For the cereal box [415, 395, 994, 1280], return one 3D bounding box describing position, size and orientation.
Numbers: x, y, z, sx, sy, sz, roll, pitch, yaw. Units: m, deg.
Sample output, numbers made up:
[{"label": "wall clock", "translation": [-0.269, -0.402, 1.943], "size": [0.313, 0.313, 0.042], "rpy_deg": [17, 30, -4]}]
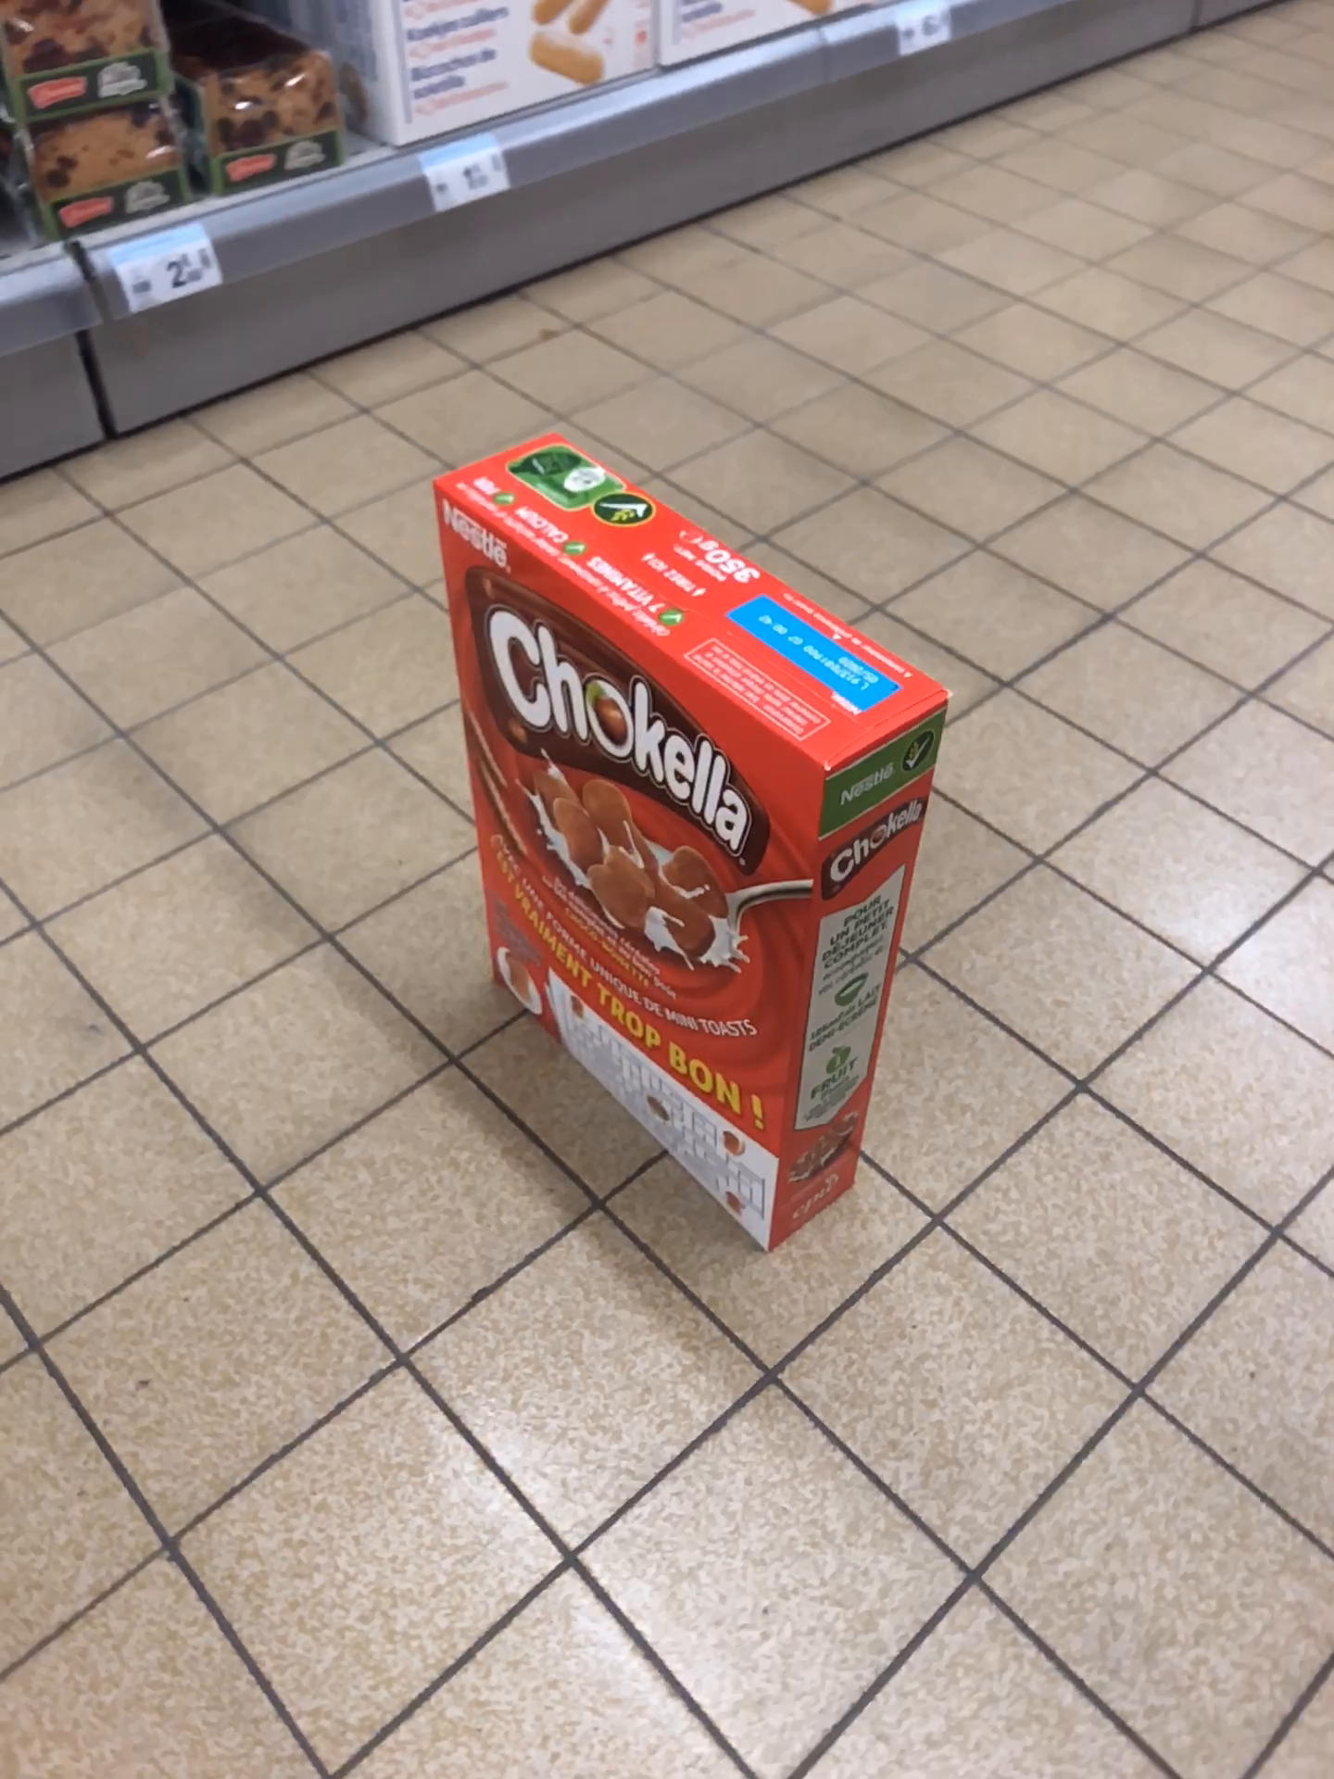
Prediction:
[{"label": "cereal box", "translation": [0.002, -0.009, 0.555], "size": [0.060, 0.278, 0.200], "rpy_deg": [-32, 55, -28]}]
